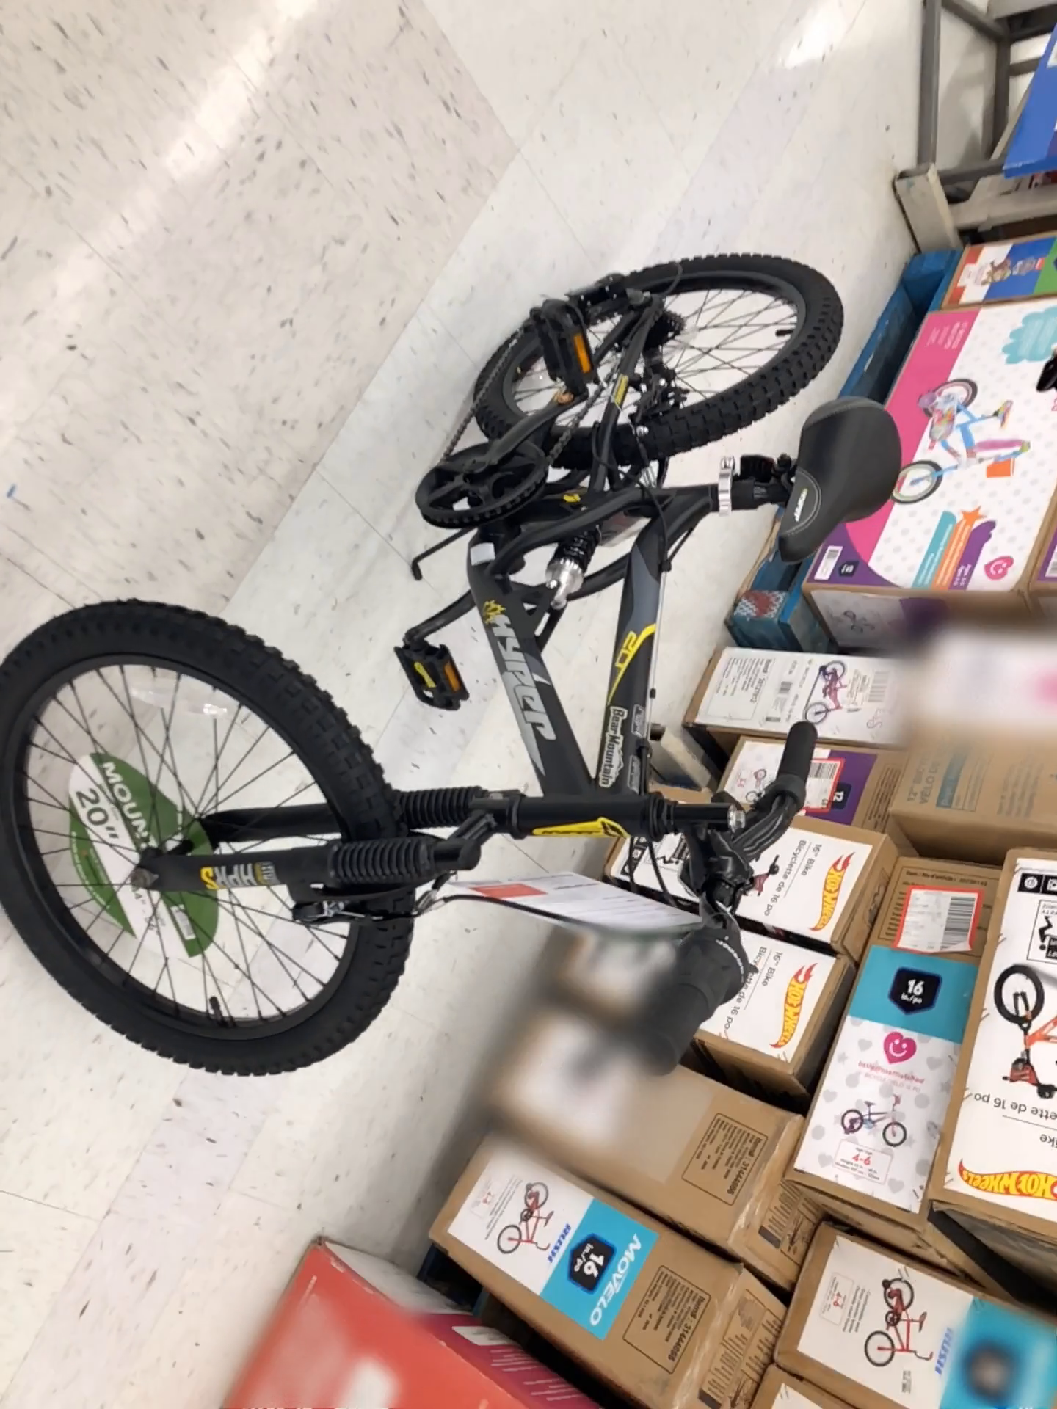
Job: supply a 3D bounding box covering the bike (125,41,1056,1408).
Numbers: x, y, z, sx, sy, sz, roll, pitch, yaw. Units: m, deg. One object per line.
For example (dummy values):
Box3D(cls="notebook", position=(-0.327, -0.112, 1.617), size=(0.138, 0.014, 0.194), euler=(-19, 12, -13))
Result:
Box3D(cls="bike", position=(0.230, -0.014, 1.351), size=(0.524, 0.849, 1.260), euler=(52, 57, -38))
